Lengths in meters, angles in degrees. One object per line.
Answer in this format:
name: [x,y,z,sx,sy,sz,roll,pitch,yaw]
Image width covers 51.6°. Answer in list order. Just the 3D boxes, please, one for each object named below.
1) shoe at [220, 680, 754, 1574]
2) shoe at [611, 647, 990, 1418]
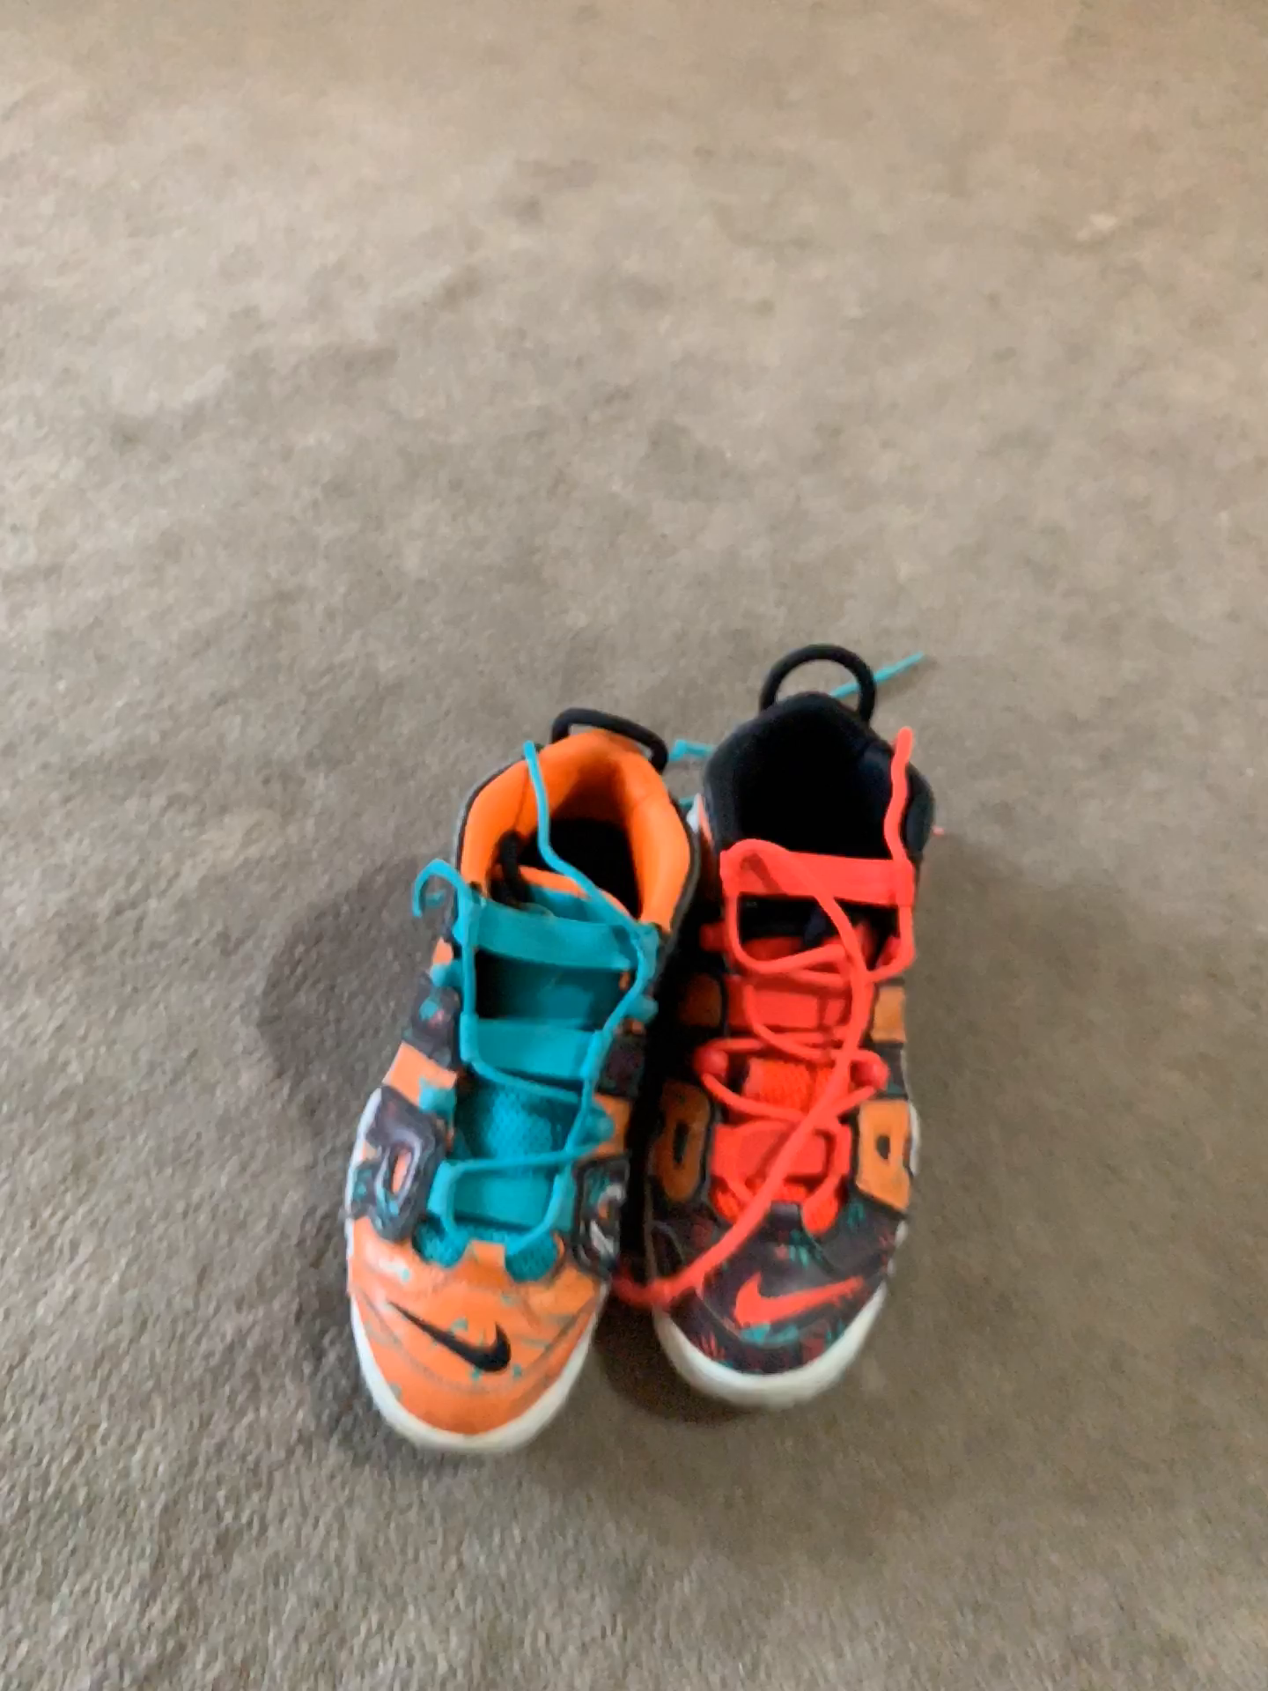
shoe: [-0.036,0.084,0.433,0.100,0.089,0.252,11,66,3]
shoe: [0.058,0.064,0.448,0.100,0.109,0.231,5,66,4]
